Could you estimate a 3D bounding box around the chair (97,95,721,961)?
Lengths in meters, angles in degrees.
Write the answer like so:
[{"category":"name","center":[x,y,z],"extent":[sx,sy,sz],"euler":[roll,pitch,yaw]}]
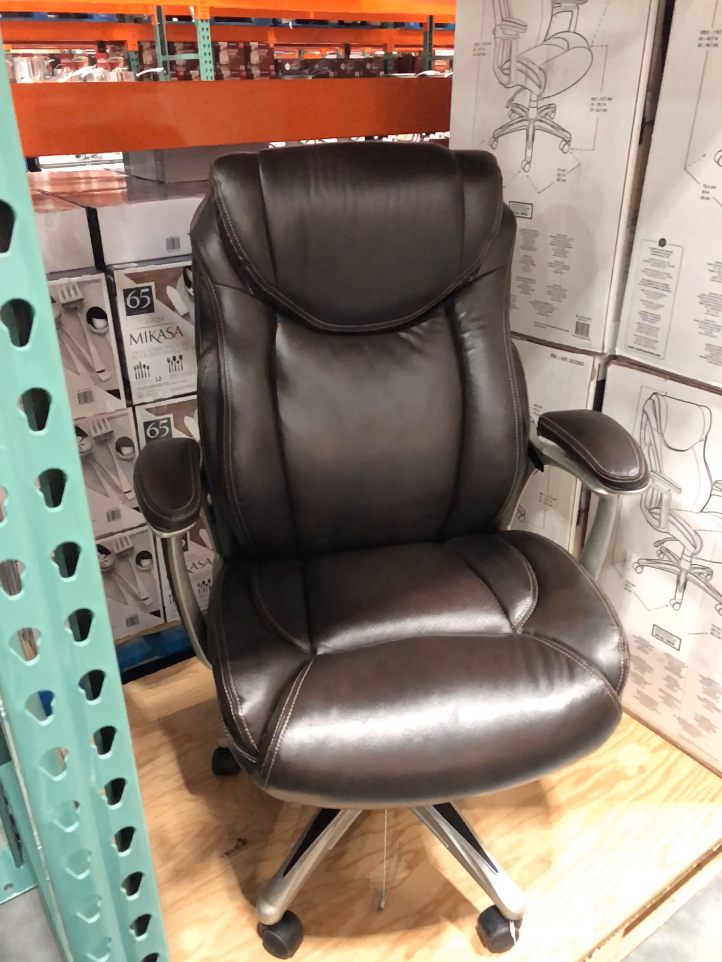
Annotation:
[{"category":"chair","center":[0.034,0.032,1.192],"extent":[0.660,1.095,0.723],"euler":[-8,27,-15]}]
